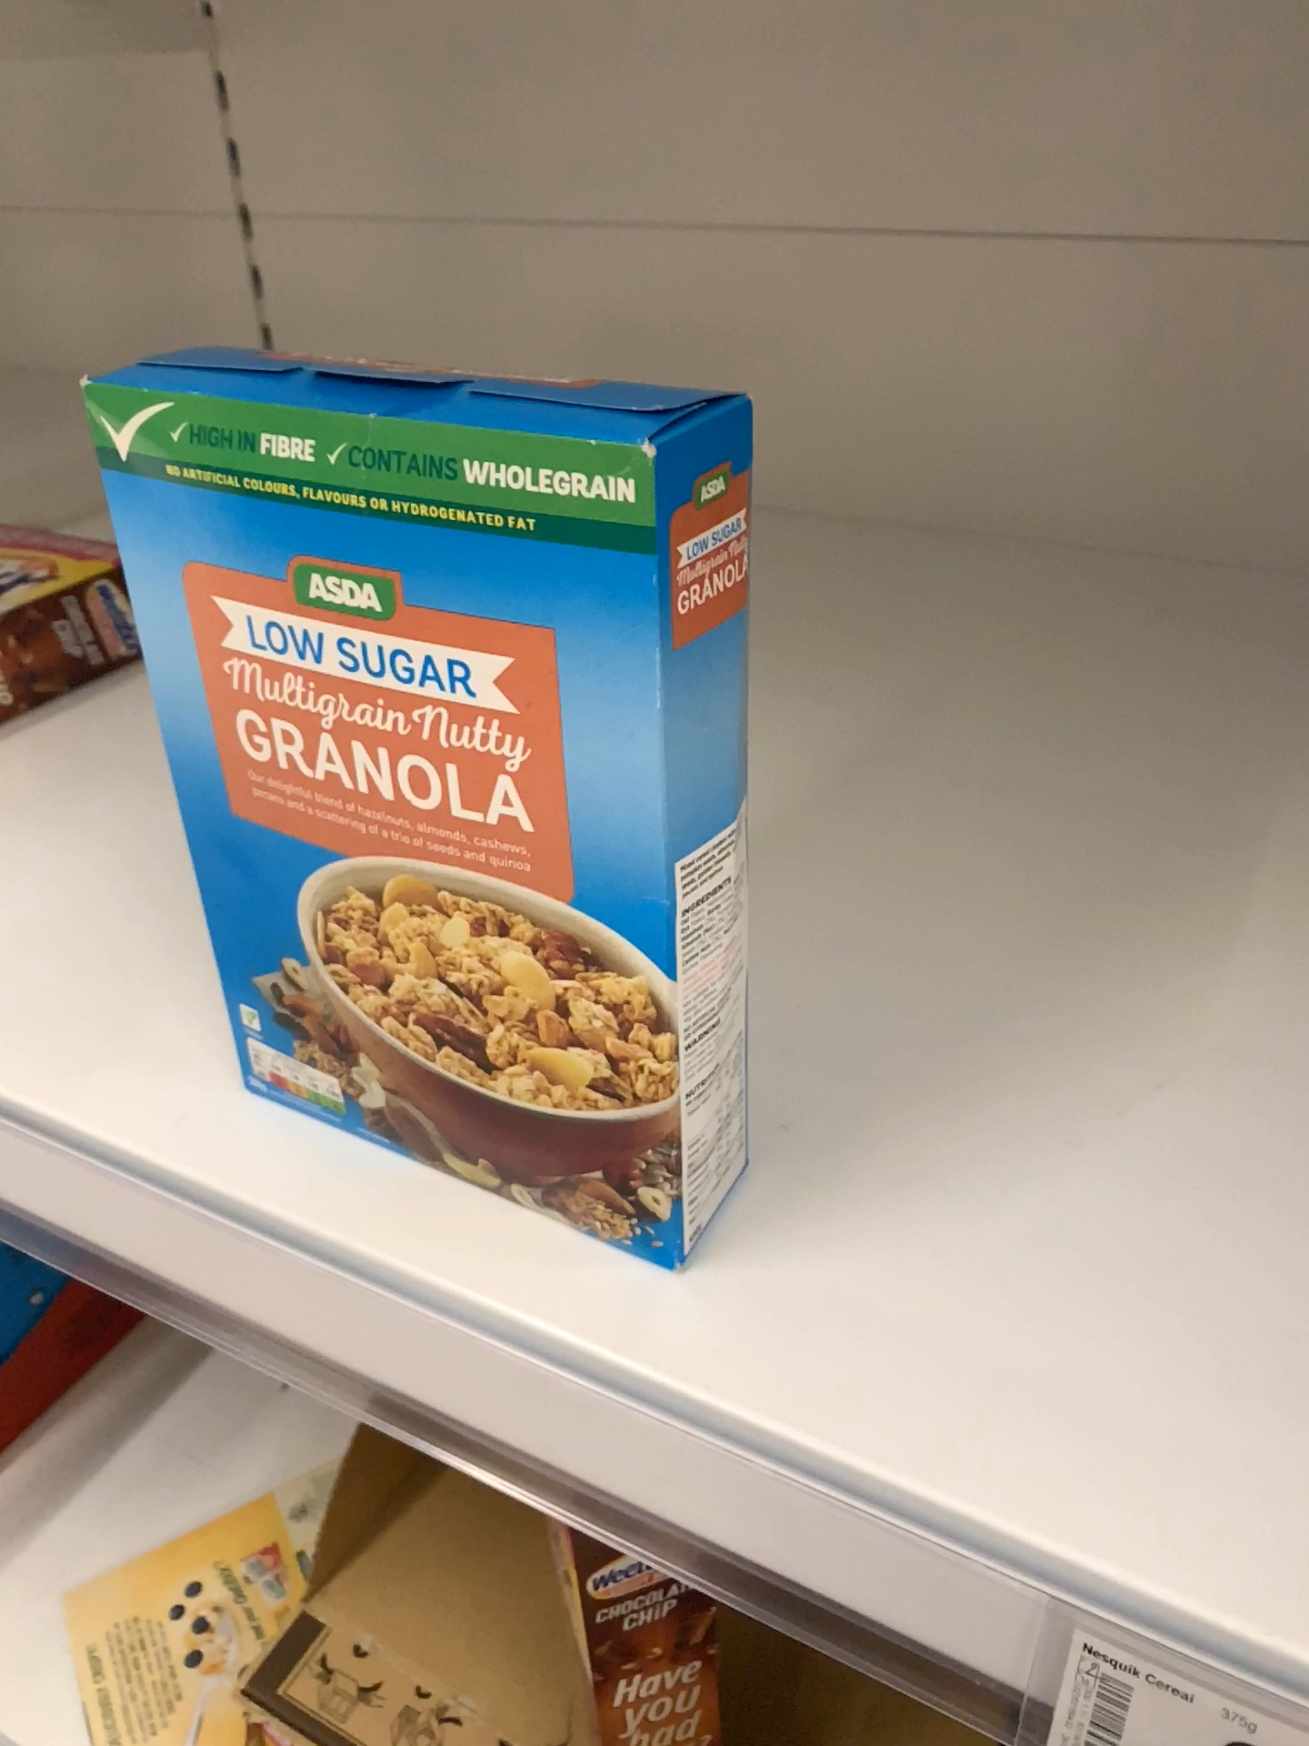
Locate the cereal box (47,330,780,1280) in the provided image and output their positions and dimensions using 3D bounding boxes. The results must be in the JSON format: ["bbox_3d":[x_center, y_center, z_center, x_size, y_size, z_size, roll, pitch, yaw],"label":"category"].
[{"bbox_3d":[-0.062,-0.021,0.408,0.190,0.248,0.060,16,36,27],"label":"cereal box"}]
